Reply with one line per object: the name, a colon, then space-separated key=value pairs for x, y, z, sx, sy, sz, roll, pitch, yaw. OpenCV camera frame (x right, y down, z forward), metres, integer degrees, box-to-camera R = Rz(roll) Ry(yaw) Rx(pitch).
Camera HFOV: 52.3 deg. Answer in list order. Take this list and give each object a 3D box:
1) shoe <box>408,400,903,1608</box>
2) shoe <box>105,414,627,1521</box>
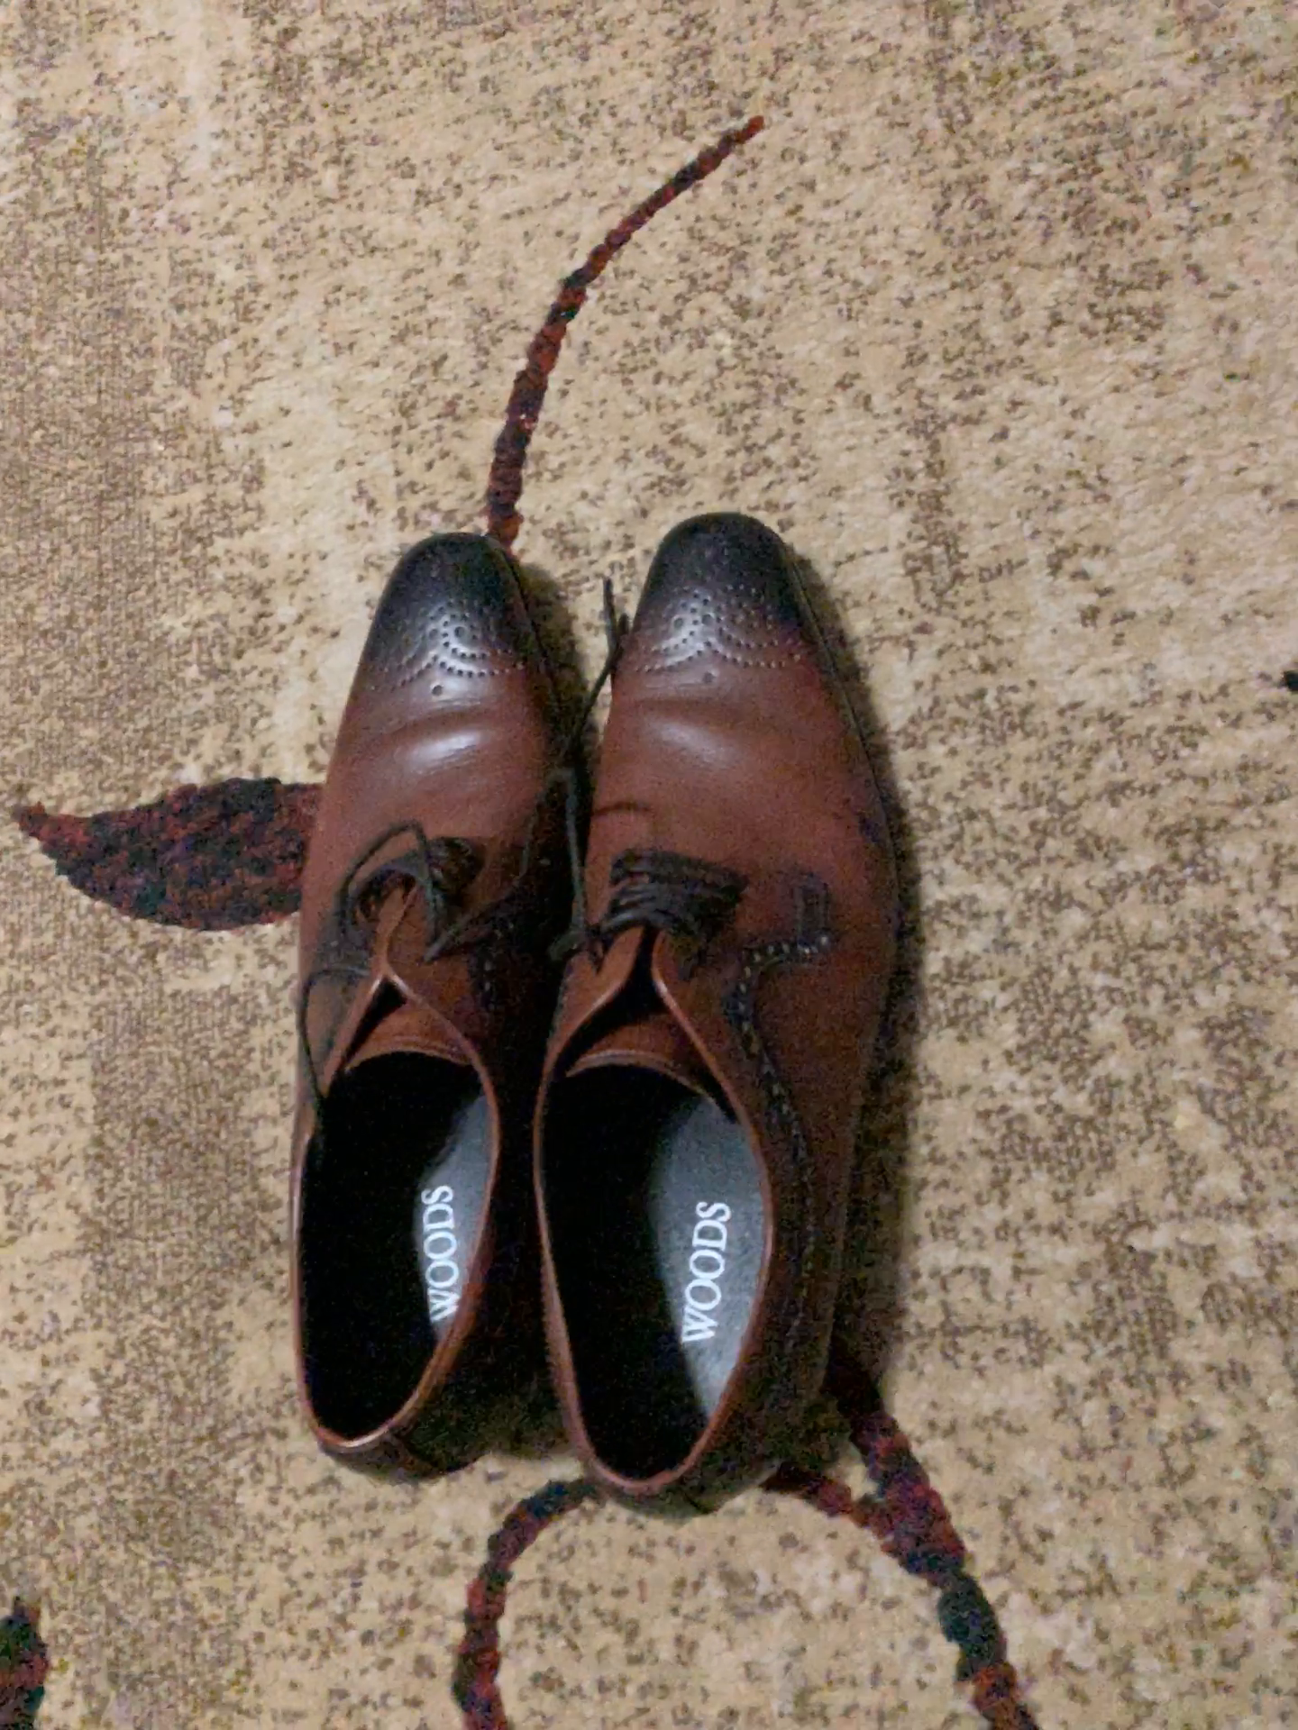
shoe: x=0.016 y=0.030 z=0.364 sx=0.096 sy=0.116 sz=0.274 roll=0 pitch=76 yaw=14
shoe: x=-0.070 y=0.028 z=0.387 sx=0.096 sy=0.116 sz=0.274 roll=-5 pitch=74 yaw=13
